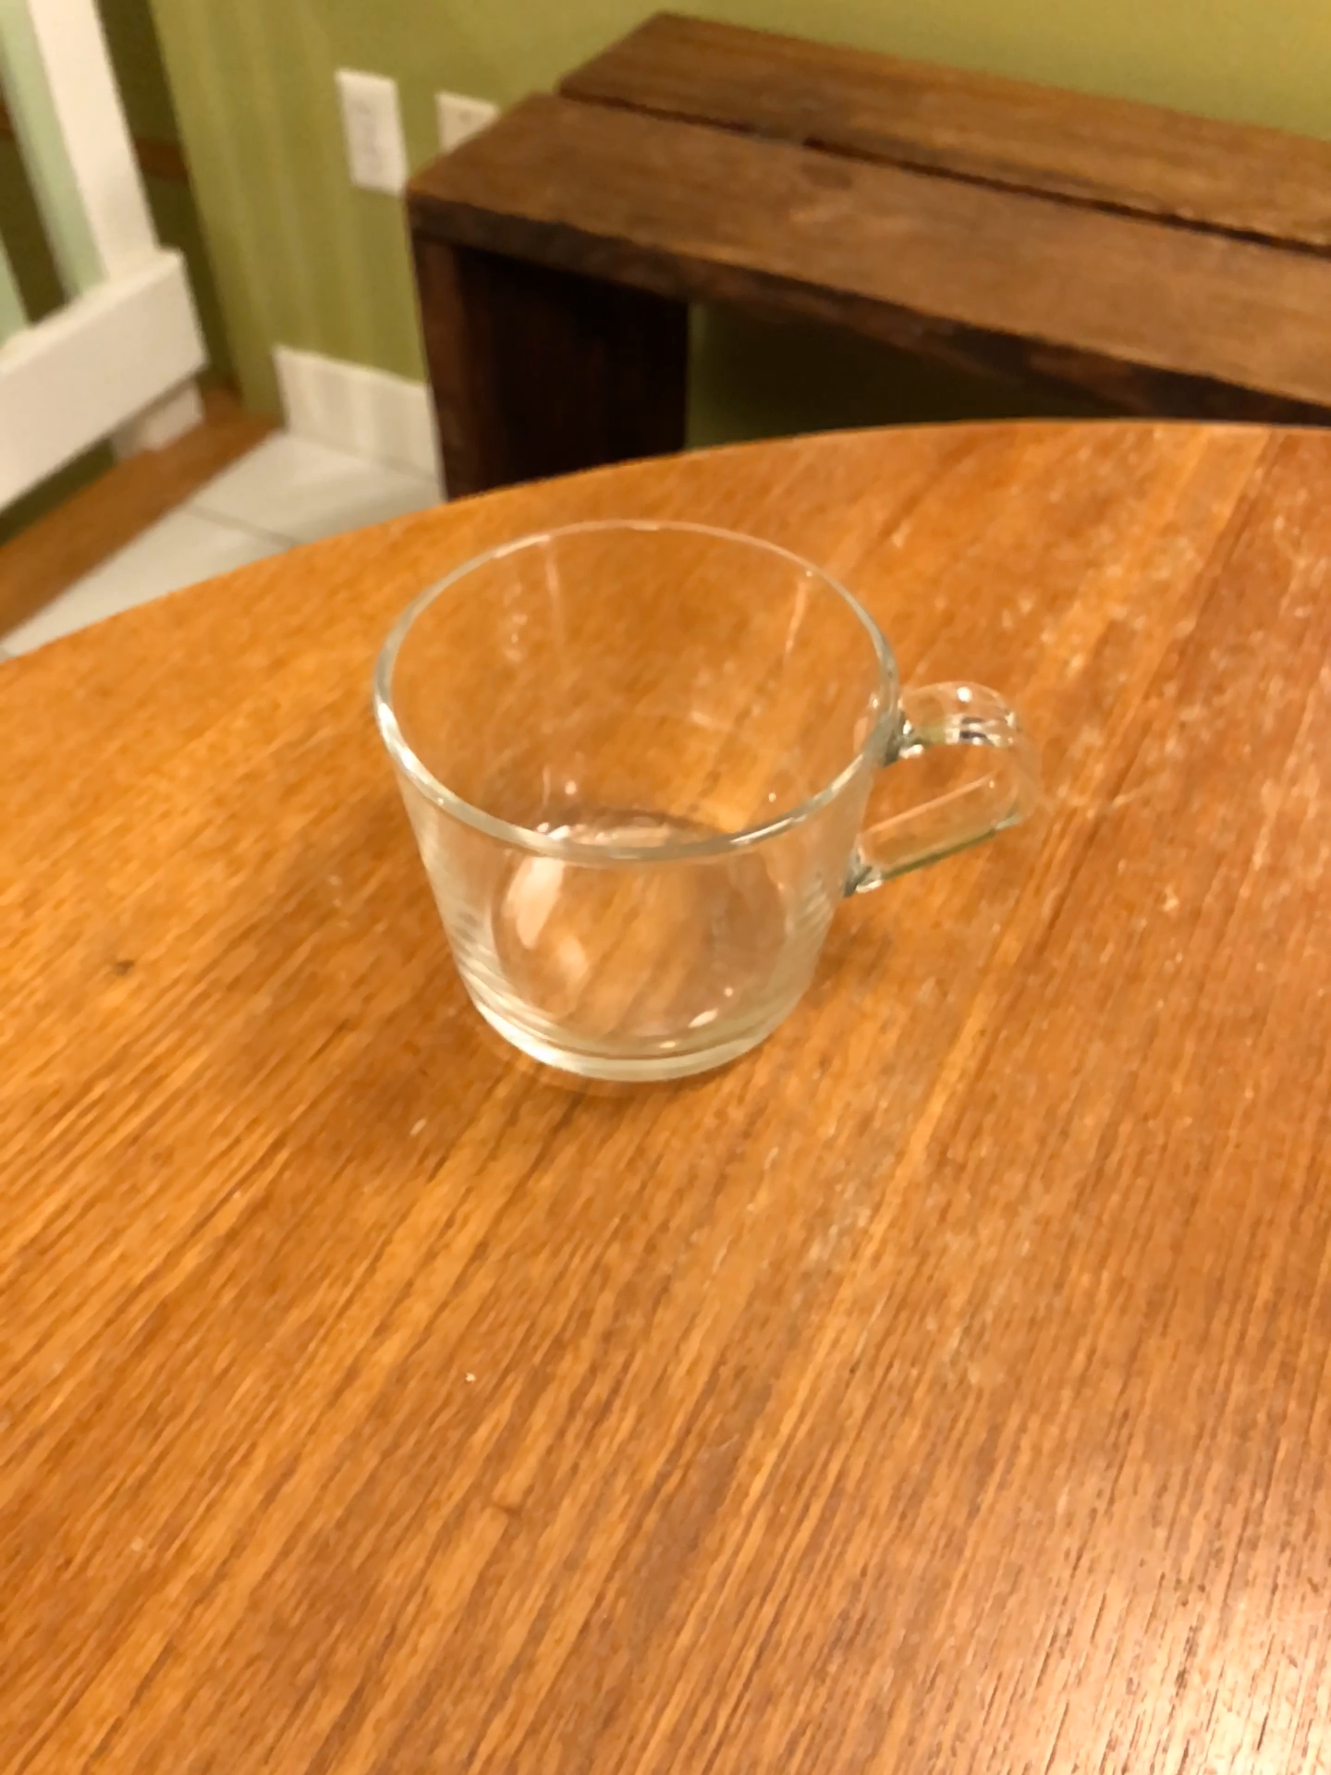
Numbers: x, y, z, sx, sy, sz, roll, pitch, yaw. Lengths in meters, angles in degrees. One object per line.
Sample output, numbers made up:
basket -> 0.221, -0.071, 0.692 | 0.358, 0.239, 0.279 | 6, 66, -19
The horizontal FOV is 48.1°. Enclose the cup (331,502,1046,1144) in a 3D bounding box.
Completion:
cup -> 0.005, -0.014, 0.317 | 0.120, 0.089, 0.101 | 1, 48, 1
